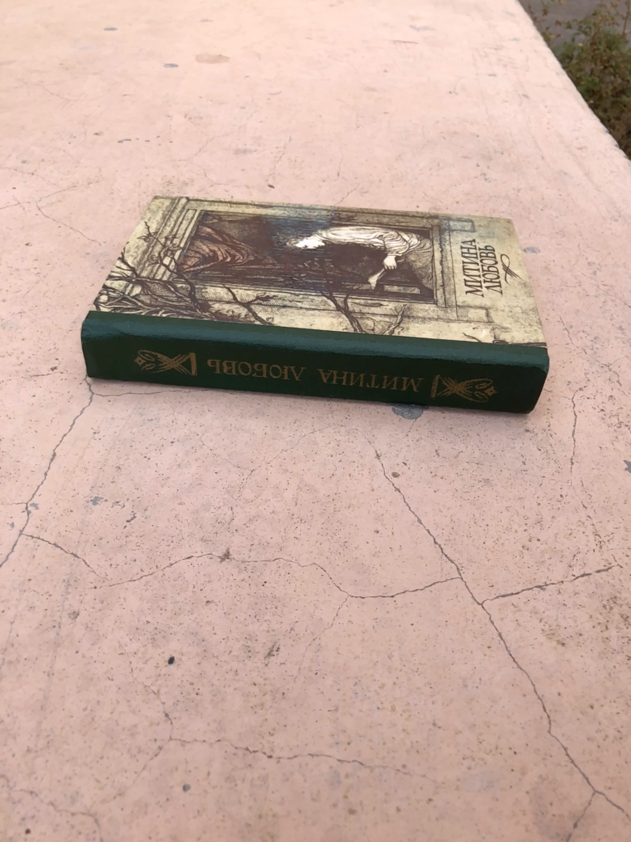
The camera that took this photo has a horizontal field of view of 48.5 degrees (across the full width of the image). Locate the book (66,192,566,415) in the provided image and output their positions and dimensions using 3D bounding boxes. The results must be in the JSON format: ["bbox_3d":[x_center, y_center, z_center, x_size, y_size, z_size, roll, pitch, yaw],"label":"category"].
[{"bbox_3d":[0.003,-0.067,0.360,0.213,0.035,0.135,4,41,2],"label":"book"}]
